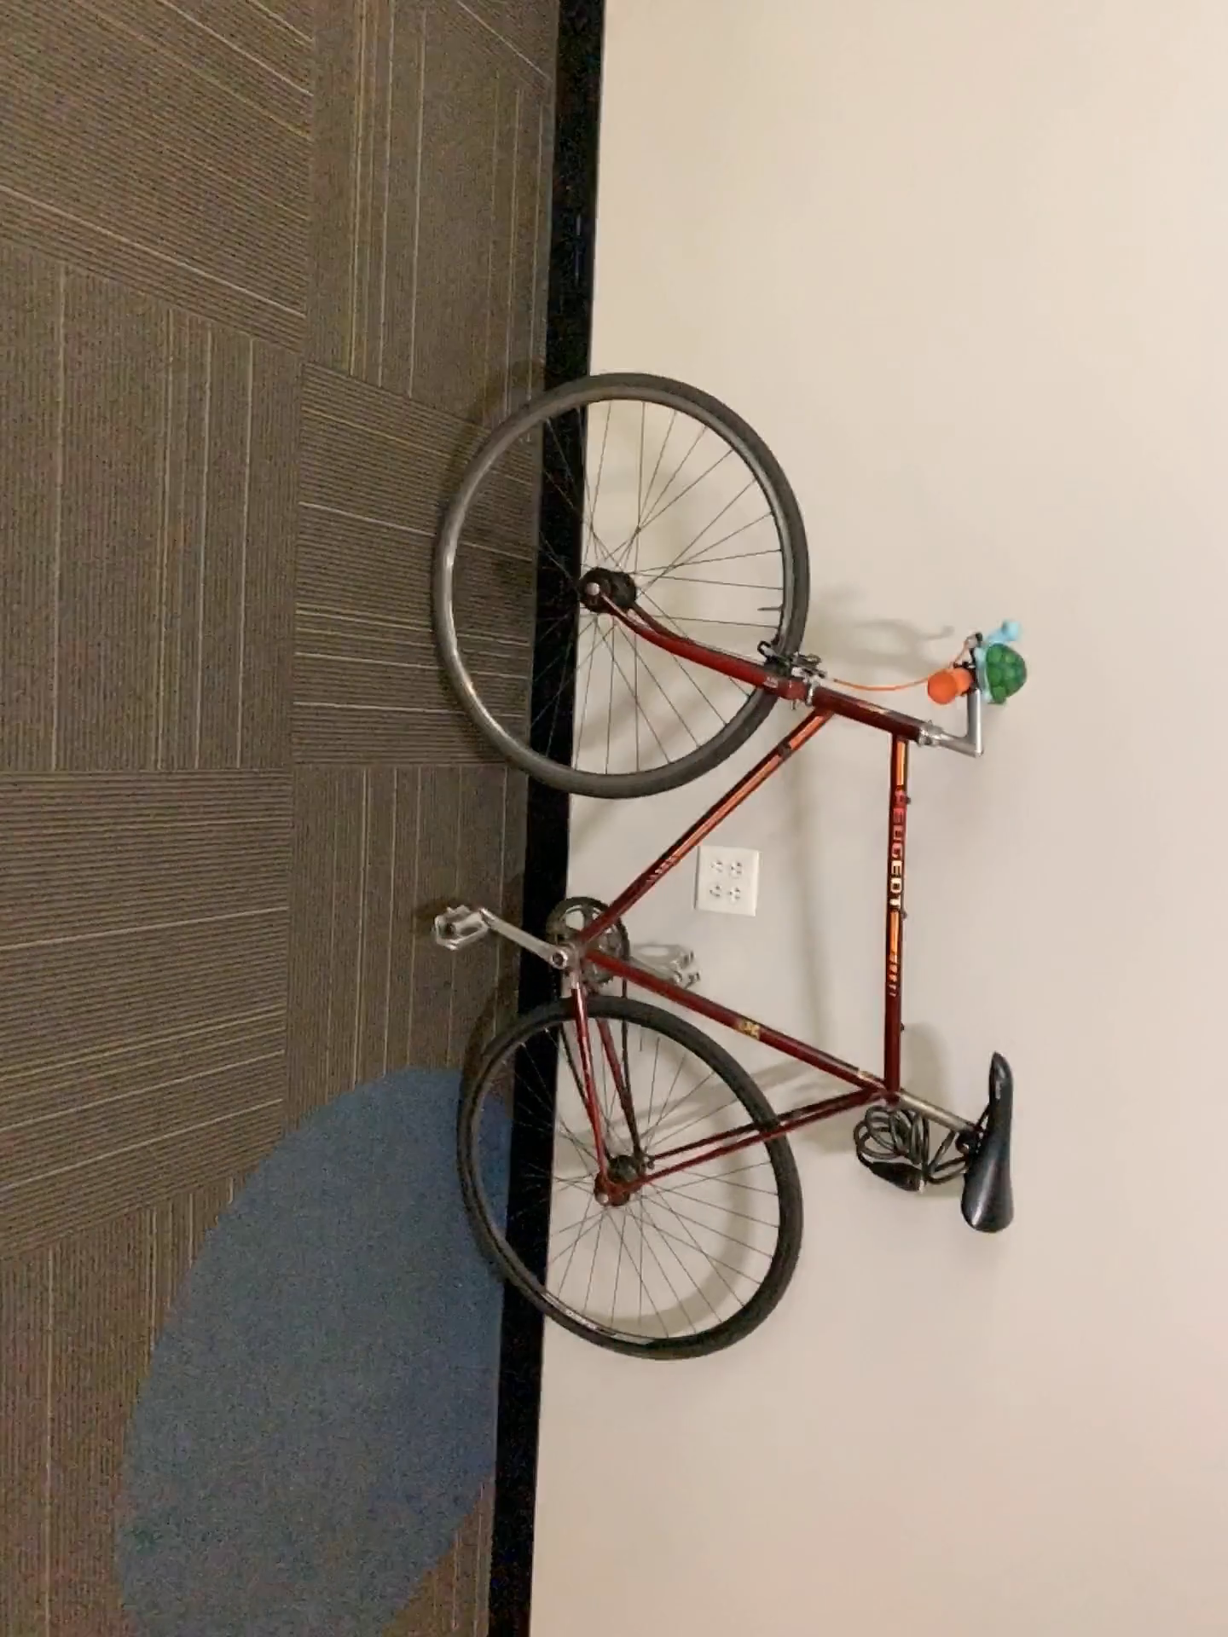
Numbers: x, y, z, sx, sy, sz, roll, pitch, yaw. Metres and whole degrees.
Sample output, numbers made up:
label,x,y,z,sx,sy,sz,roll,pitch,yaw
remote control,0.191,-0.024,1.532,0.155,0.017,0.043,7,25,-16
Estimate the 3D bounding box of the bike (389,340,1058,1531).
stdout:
label,x,y,z,sx,sy,sz,roll,pitch,yaw
bike,0.158,0.142,2.064,0.451,0.908,1.627,-18,111,-58
